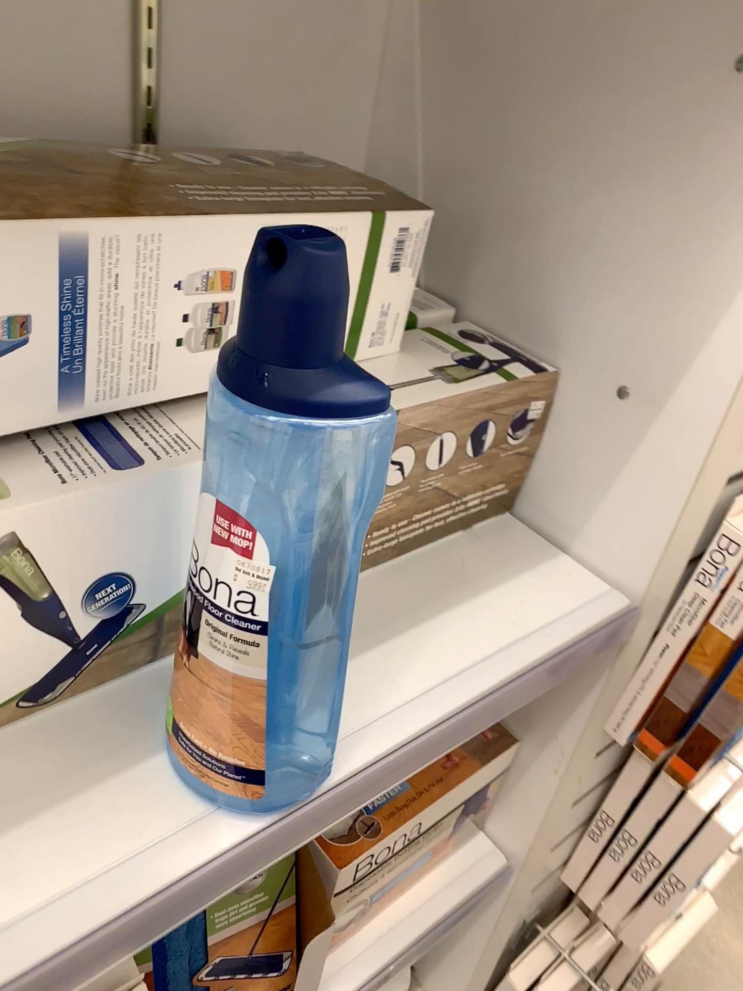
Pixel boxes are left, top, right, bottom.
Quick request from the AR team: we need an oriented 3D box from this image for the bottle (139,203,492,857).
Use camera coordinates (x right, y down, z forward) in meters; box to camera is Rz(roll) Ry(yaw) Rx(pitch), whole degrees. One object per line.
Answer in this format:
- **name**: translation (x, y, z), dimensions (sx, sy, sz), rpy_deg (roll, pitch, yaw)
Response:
- **bottle**: translation (-0.041, 0.026, 0.352), dimensions (0.100, 0.278, 0.080), rpy_deg (28, 36, 24)
